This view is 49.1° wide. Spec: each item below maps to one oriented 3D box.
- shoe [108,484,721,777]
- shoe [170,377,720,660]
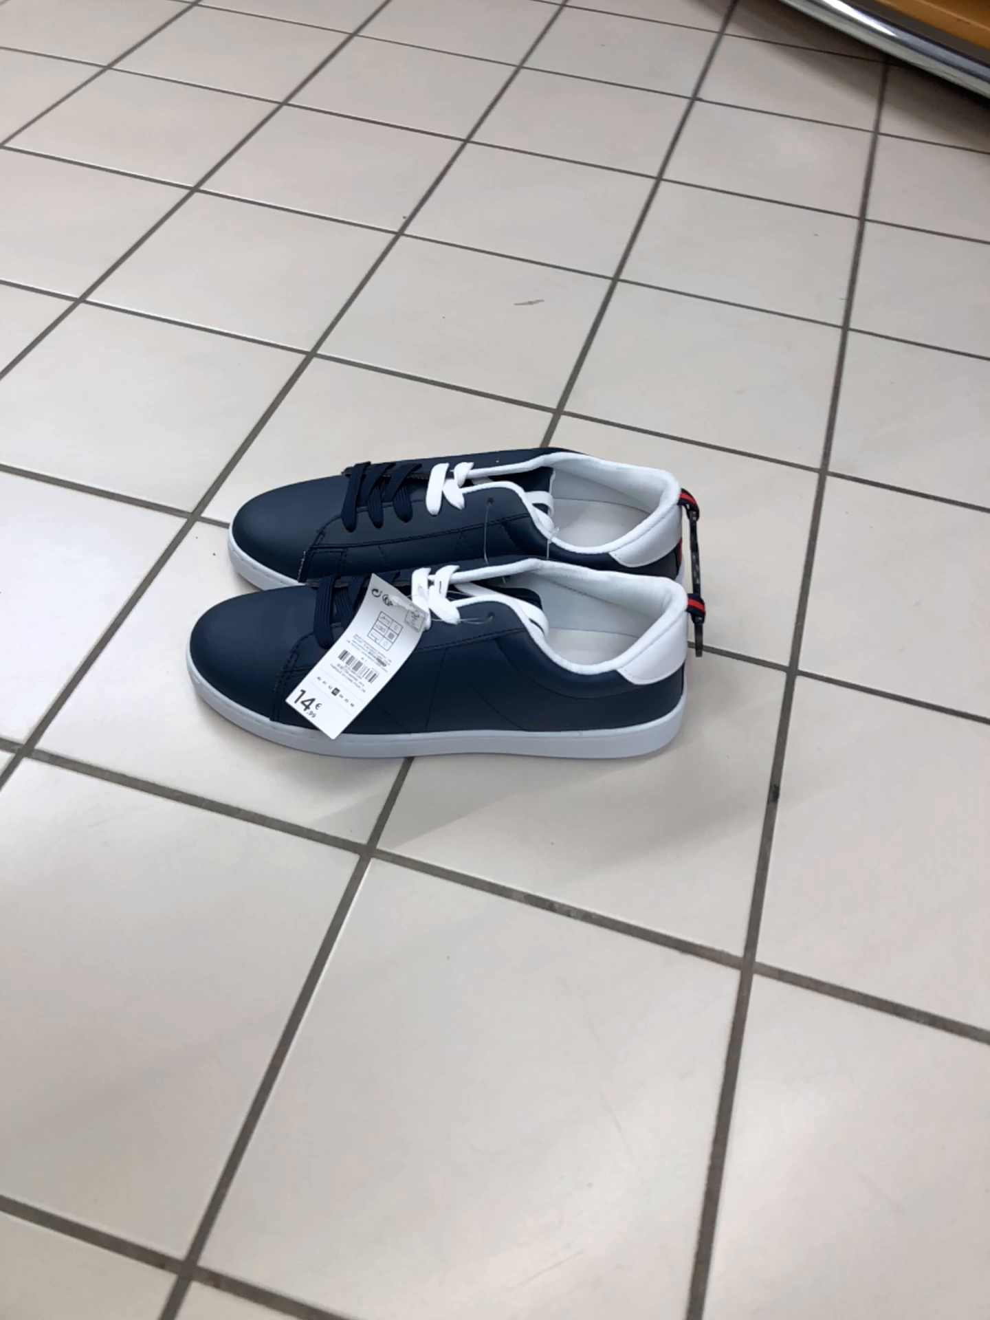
[{"bbox_3d":[-0.038,-0.015,0.584,0.290,0.099,0.101,3,49,-2],"label":"shoe"},{"bbox_3d":[-0.026,-0.083,0.640,0.290,0.099,0.101,5,49,0],"label":"shoe"}]
